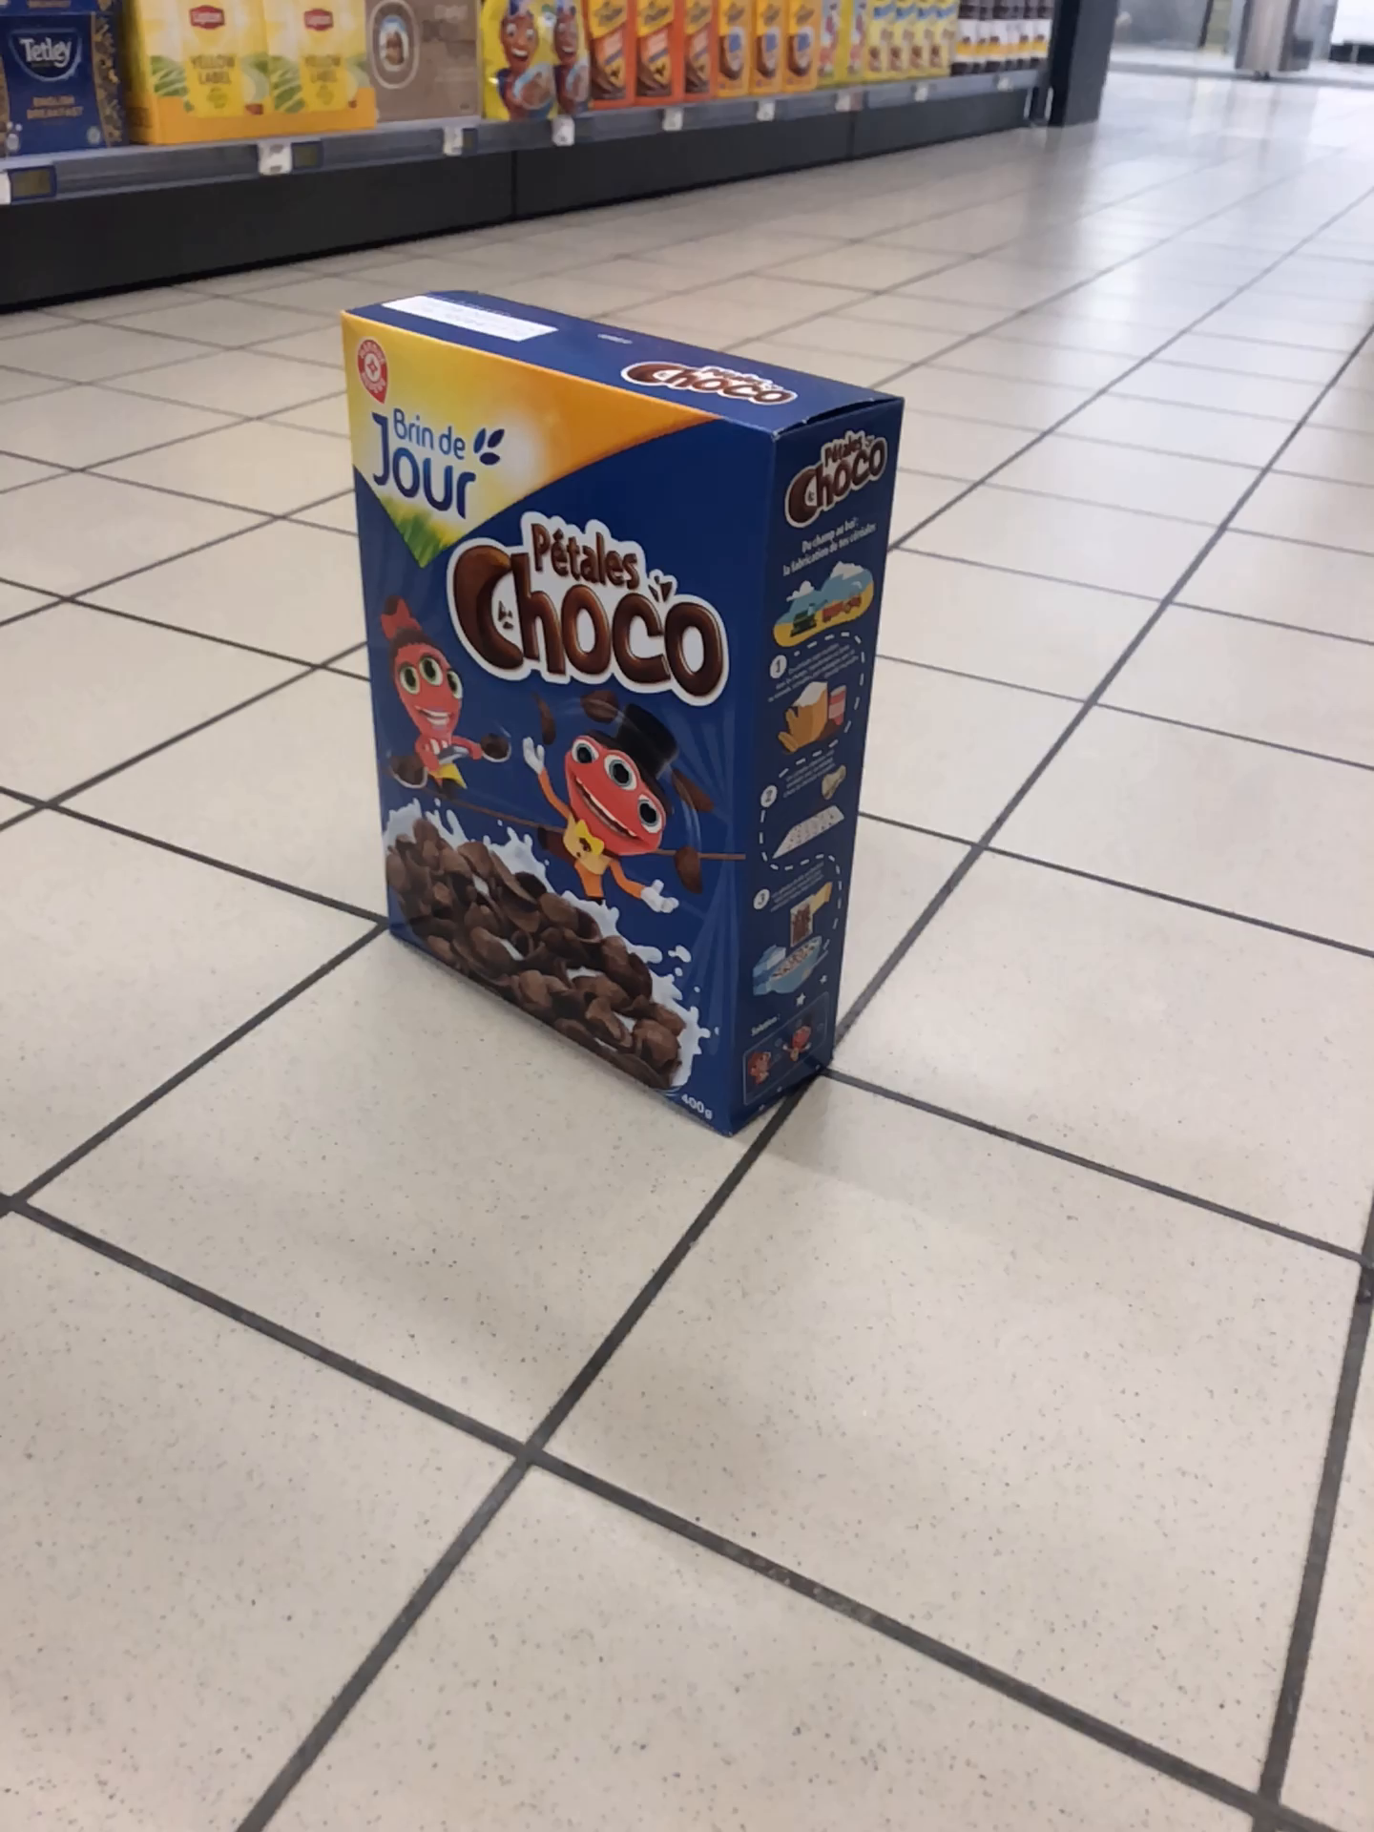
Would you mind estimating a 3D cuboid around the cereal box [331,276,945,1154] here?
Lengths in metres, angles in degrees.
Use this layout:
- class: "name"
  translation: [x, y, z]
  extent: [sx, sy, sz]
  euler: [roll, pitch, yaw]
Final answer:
- class: "cereal box"
  translation: [-0.027, -0.075, 0.534]
  extent: [0.200, 0.248, 0.070]
  euler: [28, 39, 35]
